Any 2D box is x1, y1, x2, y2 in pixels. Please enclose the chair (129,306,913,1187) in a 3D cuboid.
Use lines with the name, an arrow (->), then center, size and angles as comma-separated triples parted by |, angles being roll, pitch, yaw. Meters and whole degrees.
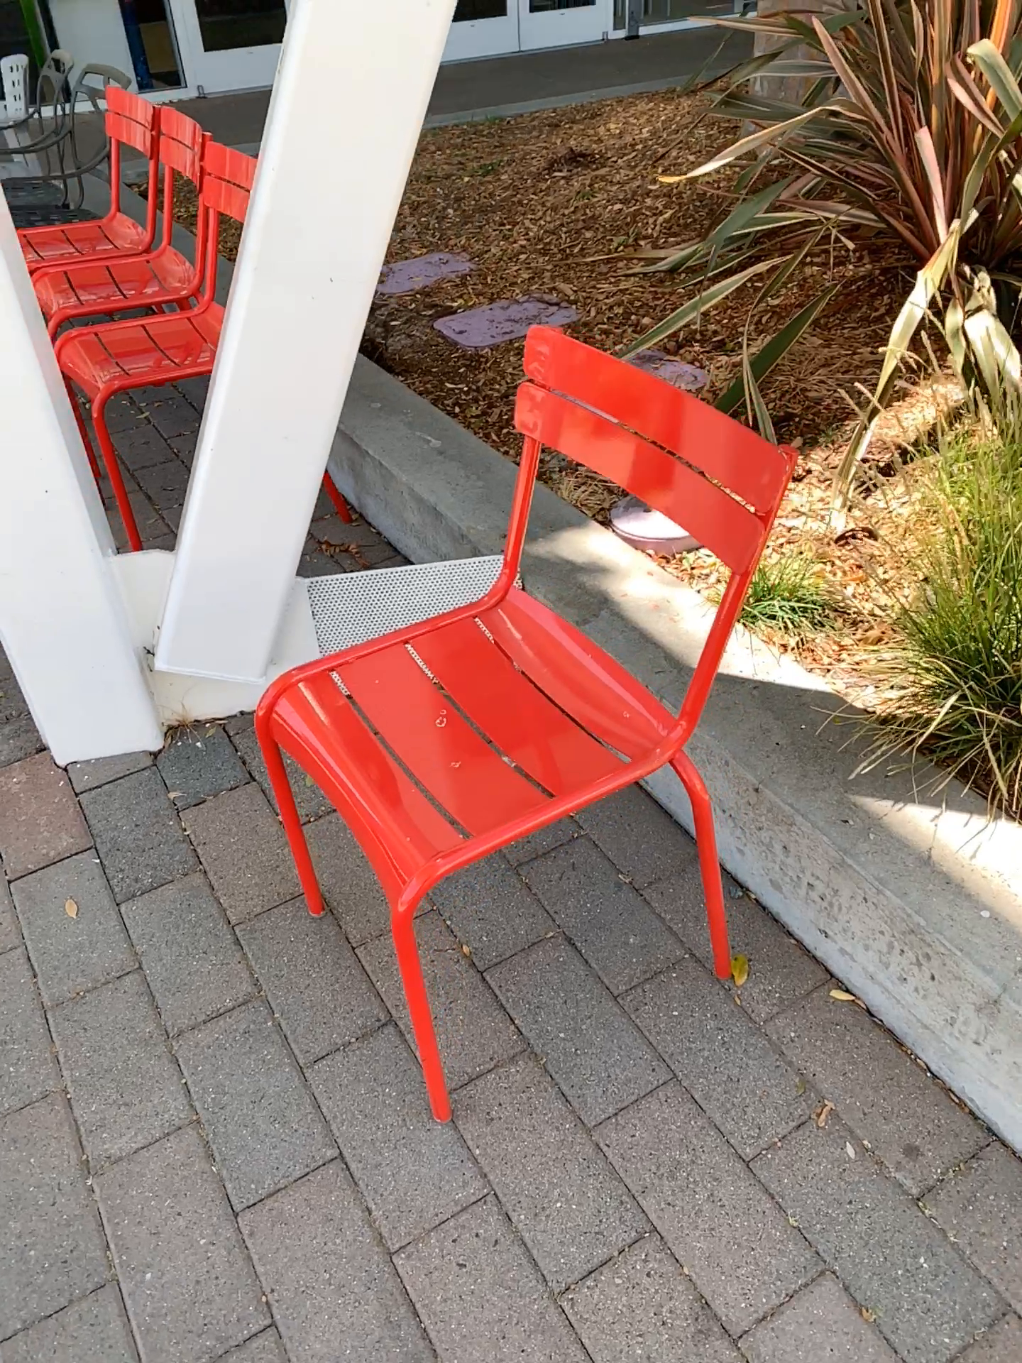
chair -> -0.001, 0.048, 1.363 | 0.630, 0.785, 0.583 | -23, 42, -23
